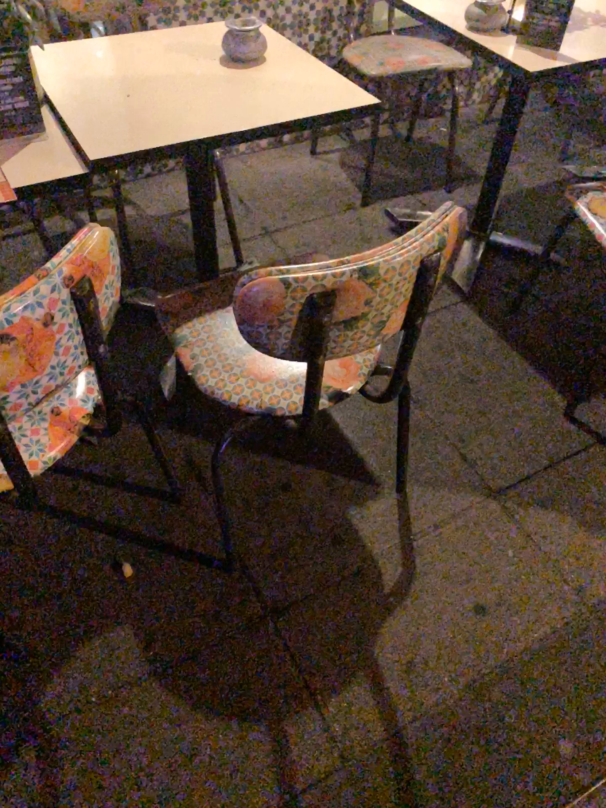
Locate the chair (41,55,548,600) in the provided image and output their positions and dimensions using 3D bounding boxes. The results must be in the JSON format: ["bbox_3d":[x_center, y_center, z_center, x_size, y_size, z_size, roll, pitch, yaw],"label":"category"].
[{"bbox_3d":[-0.053,-0.137,1.158,0.521,0.694,0.574,-23,55,-21],"label":"chair"}]
